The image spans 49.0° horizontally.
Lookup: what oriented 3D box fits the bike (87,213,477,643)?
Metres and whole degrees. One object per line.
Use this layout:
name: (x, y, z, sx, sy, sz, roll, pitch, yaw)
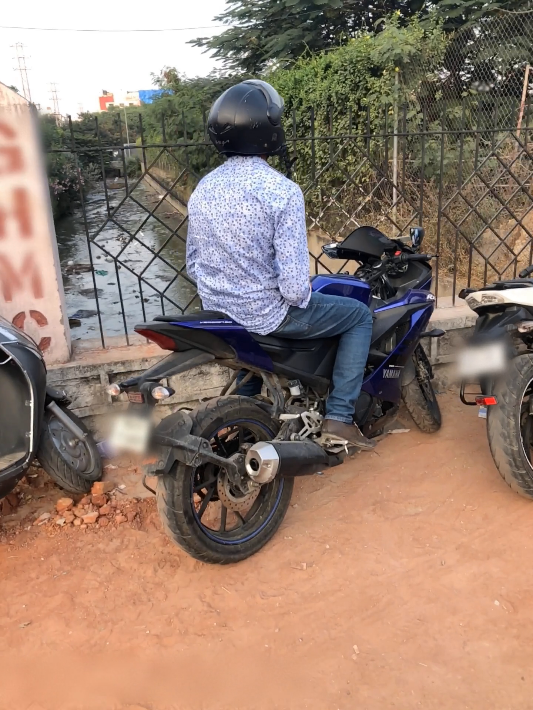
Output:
bike: (0.264, 0.039, 2.625, 0.731, 0.995, 1.952, 10, 25, 33)
